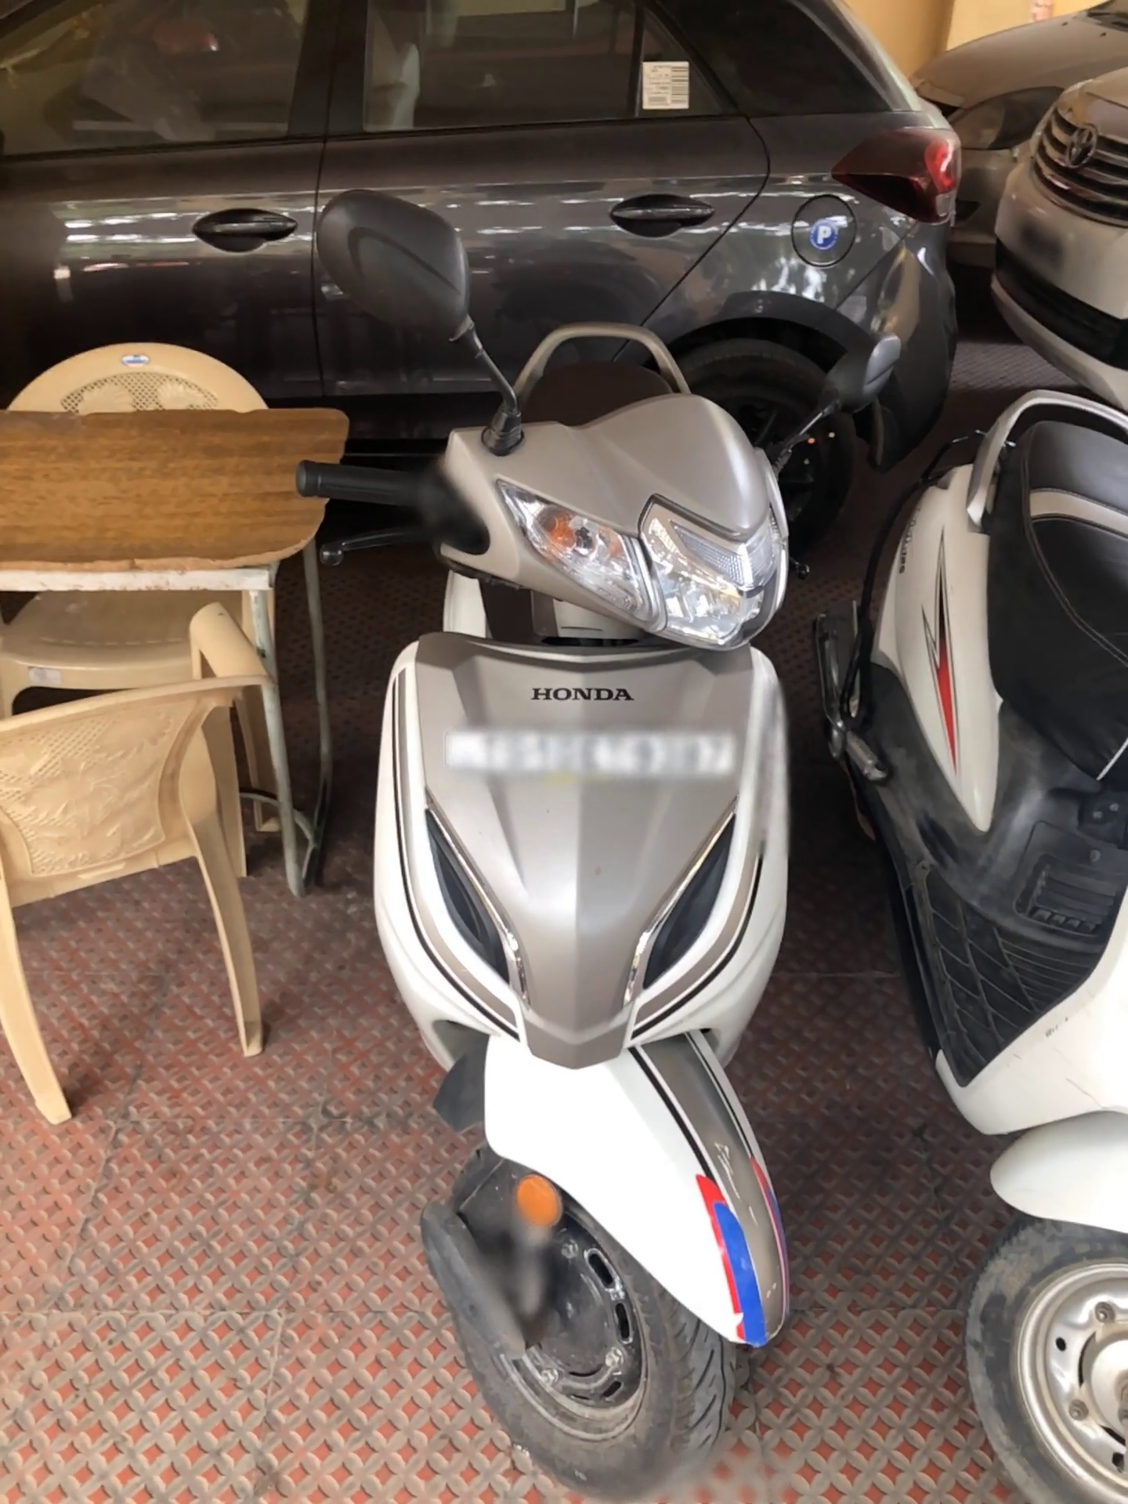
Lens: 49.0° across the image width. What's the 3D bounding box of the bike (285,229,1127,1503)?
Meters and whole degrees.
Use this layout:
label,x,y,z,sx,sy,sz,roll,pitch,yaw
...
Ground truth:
label,x,y,z,sx,sy,sz,roll,pitch,yaw
bike,0.051,0.023,1.685,0.626,0.850,1.464,-2,41,-4
